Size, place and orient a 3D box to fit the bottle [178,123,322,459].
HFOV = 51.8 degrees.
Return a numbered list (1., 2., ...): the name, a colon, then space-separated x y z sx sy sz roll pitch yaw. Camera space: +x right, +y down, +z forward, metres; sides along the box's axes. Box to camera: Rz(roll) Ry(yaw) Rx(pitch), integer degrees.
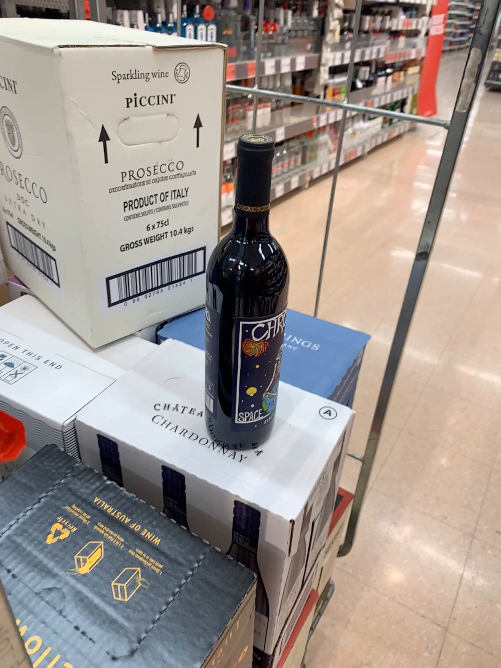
1. bottle: -0.005 -0.029 0.472 0.085 0.284 0.086 3 32 -2
